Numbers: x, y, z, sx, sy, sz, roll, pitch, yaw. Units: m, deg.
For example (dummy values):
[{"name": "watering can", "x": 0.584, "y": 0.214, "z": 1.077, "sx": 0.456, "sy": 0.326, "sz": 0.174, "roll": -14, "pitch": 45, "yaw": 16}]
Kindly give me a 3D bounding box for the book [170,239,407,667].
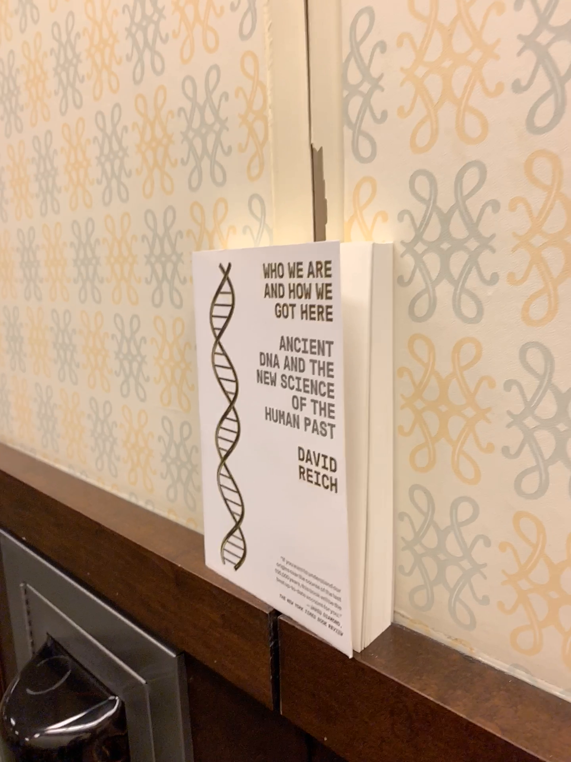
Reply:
[{"name": "book", "x": -0.002, "y": 0.029, "z": 0.324, "sx": 0.127, "sy": 0.199, "sz": 0.041, "roll": 8, "pitch": 13, "yaw": 41}]
